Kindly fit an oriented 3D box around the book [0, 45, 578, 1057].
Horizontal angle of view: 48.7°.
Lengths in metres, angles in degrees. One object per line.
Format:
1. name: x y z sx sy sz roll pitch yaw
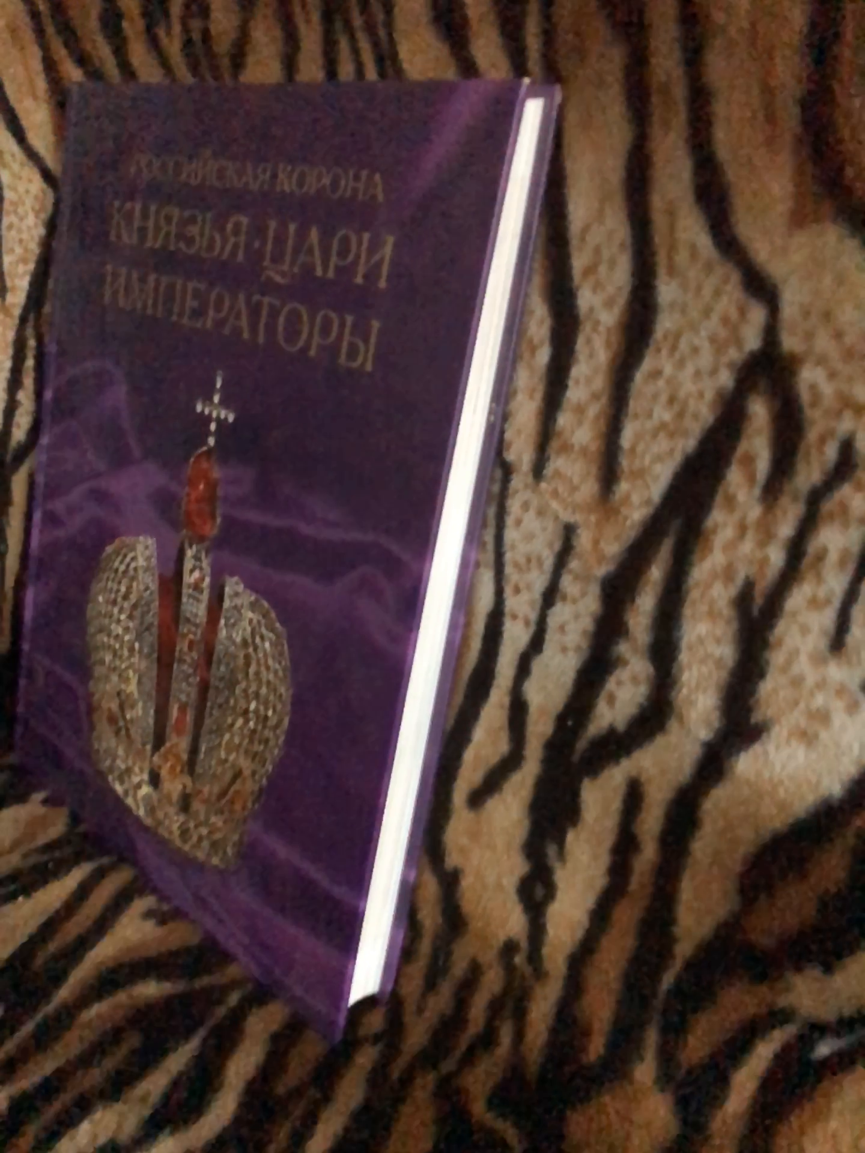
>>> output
1. book: -0.080 -0.023 0.336 0.224 0.279 0.035 22 18 39
